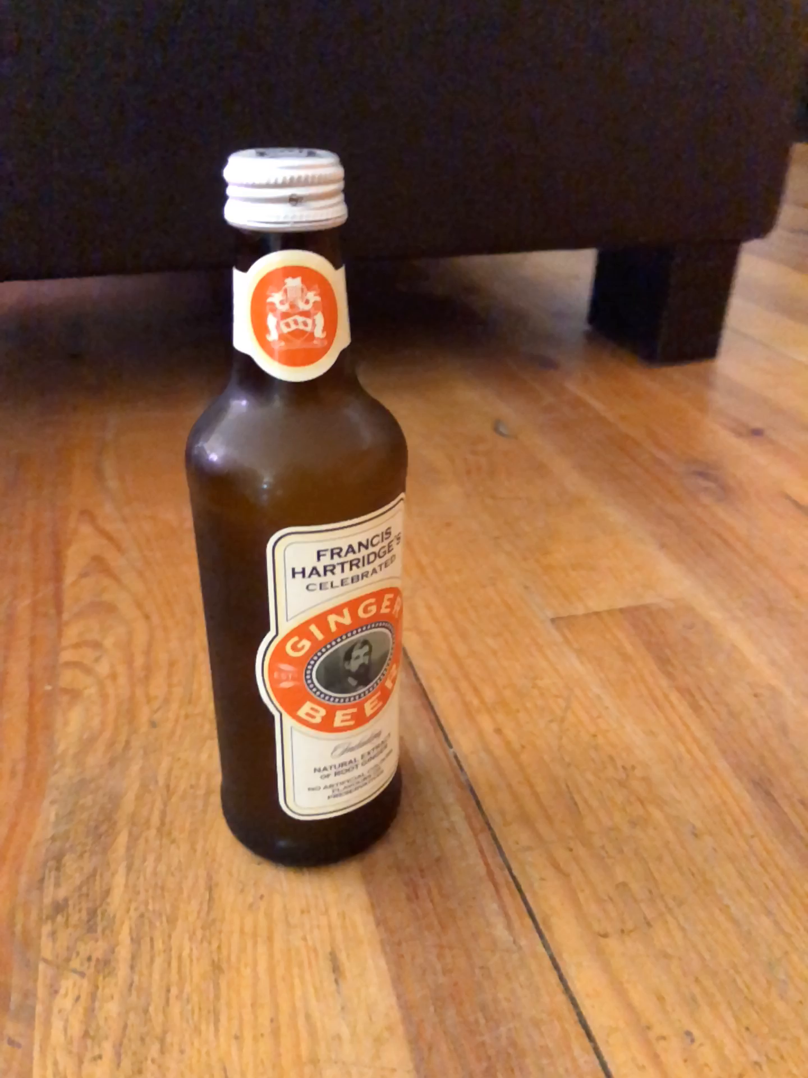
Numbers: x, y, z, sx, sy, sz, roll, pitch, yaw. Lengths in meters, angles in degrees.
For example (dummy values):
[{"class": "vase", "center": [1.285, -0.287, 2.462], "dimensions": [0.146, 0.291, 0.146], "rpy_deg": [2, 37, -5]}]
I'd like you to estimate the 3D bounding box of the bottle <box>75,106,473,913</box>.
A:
[{"class": "bottle", "center": [-0.032, -0.003, 0.252], "dimensions": [0.070, 0.209, 0.060], "rpy_deg": [-17, 33, -29]}]
